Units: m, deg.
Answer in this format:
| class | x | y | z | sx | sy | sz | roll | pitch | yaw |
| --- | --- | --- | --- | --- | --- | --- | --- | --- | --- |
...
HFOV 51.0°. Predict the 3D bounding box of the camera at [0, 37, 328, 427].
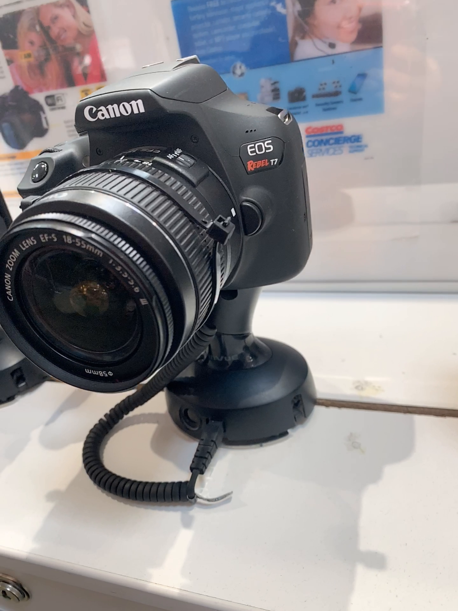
| class | x | y | z | sx | sy | sz | roll | pitch | yaw |
| --- | --- | --- | --- | --- | --- | --- | --- | --- | --- |
| camera | -0.032 | -0.036 | 0.191 | 0.122 | 0.104 | 0.110 | 1 | 30 | 19 |
